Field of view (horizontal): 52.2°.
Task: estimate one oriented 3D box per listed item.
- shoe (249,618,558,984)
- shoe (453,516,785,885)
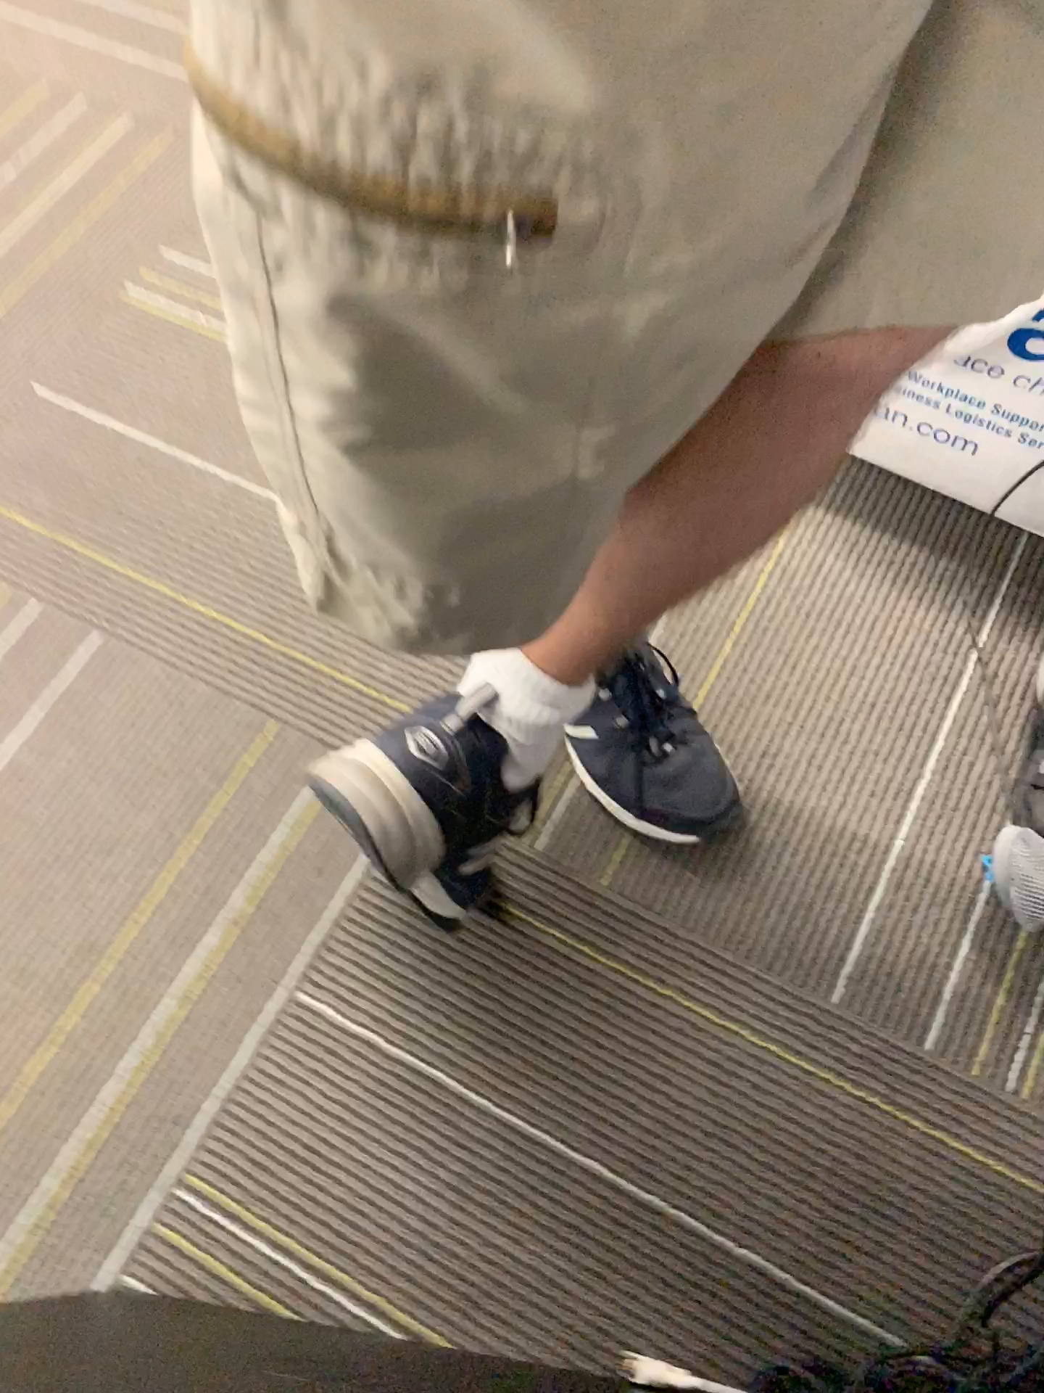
[{"bbox_3d":[-0.069,0.092,0.779,0.129,0.293,0.122,-37,67,-13],"label":"shoe"},{"bbox_3d":[0.074,-0.003,0.909,0.120,0.077,0.297,-31,67,-12],"label":"shoe"}]
